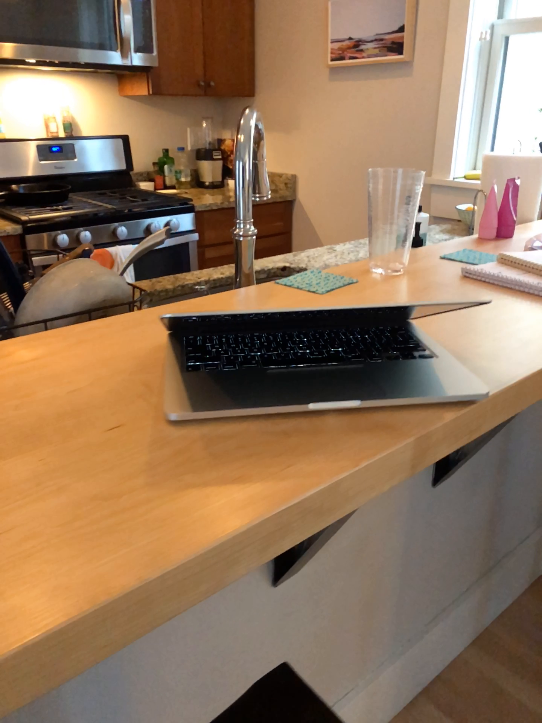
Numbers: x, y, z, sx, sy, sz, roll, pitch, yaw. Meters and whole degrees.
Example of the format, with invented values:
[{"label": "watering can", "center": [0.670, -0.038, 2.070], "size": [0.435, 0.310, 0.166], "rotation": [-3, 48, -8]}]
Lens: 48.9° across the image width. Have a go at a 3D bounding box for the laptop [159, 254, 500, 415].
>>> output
[{"label": "laptop", "center": [0.040, -0.042, 0.623], "size": [0.300, 0.084, 0.211], "rotation": [-3, 23, -8]}]
